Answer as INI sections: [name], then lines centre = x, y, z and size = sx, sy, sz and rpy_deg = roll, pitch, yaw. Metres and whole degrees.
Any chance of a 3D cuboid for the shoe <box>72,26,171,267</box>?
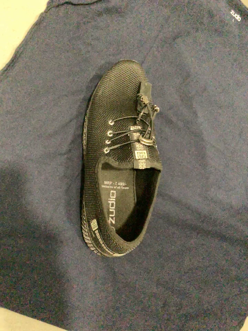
[shoe]
centre = -0.005, -0.022, 0.357
size = 0.100, 0.090, 0.290
rpy_deg = 6, 81, -15
